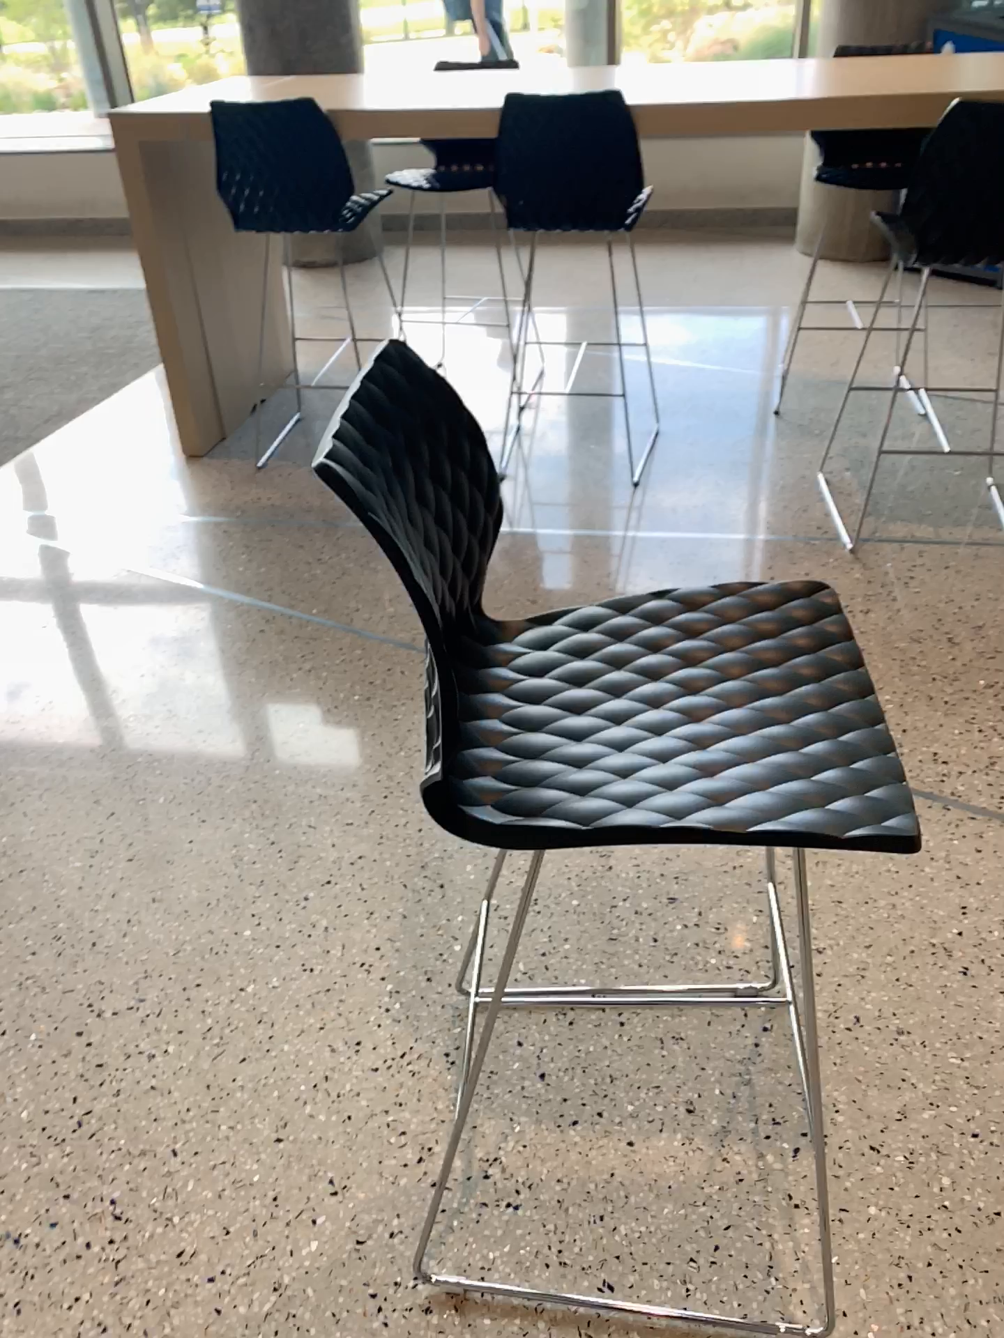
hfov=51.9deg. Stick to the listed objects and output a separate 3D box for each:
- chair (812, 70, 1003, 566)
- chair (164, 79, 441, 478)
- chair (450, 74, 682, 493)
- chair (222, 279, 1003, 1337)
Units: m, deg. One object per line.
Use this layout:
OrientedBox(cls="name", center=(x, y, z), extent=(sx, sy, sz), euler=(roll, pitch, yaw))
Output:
OrientedBox(cls="chair", center=(1.134, -0.868, 2.593), extent=(0.531, 1.048, 0.551), euler=(3, 34, 10))
OrientedBox(cls="chair", center=(-0.566, -1.217, 3.242), extent=(0.531, 1.048, 0.551), euler=(6, 35, 13))
OrientedBox(cls="chair", center=(0.217, -1.143, 3.088), extent=(0.531, 1.048, 0.551), euler=(6, 35, 13))
OrientedBox(cls="chair", center=(0.146, 0.189, 1.135), extent=(0.546, 1.048, 0.536), euler=(1, 34, 7))
